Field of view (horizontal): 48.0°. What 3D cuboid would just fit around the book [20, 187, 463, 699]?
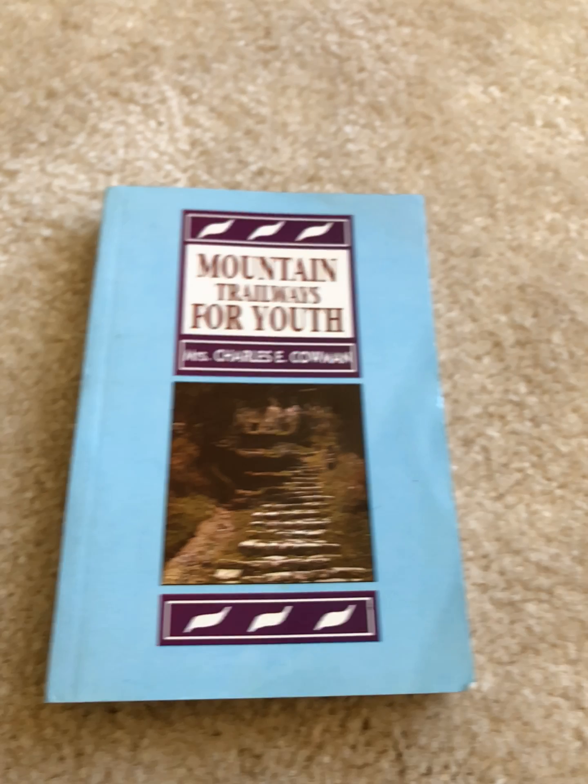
[{"bbox_3d":[-0.015,0.010,0.226,0.122,0.030,0.170,0,69,-1],"label":"book"}]
